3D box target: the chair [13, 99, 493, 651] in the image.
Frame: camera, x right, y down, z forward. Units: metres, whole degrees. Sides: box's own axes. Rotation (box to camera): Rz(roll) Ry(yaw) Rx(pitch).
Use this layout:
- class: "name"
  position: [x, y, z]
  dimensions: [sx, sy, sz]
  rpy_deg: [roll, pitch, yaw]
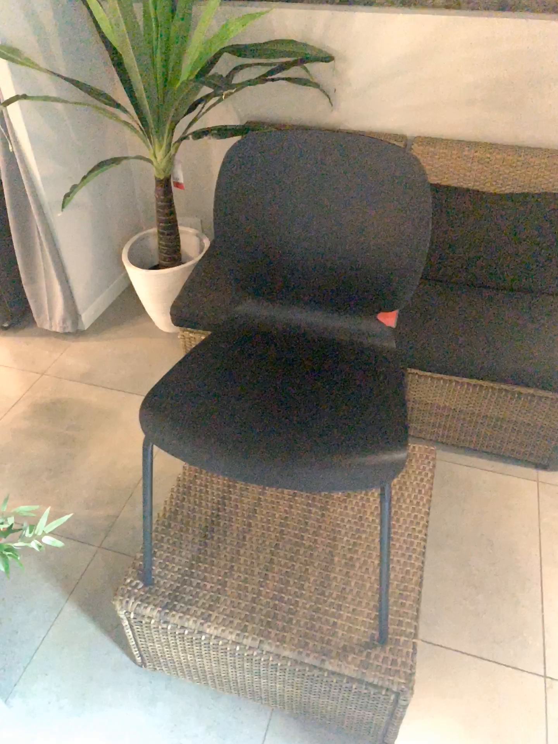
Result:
- class: "chair"
  position: [0.021, 0.002, 1.056]
  dimensions: [0.530, 0.767, 0.562]
  rpy_deg: [10, 42, 11]
